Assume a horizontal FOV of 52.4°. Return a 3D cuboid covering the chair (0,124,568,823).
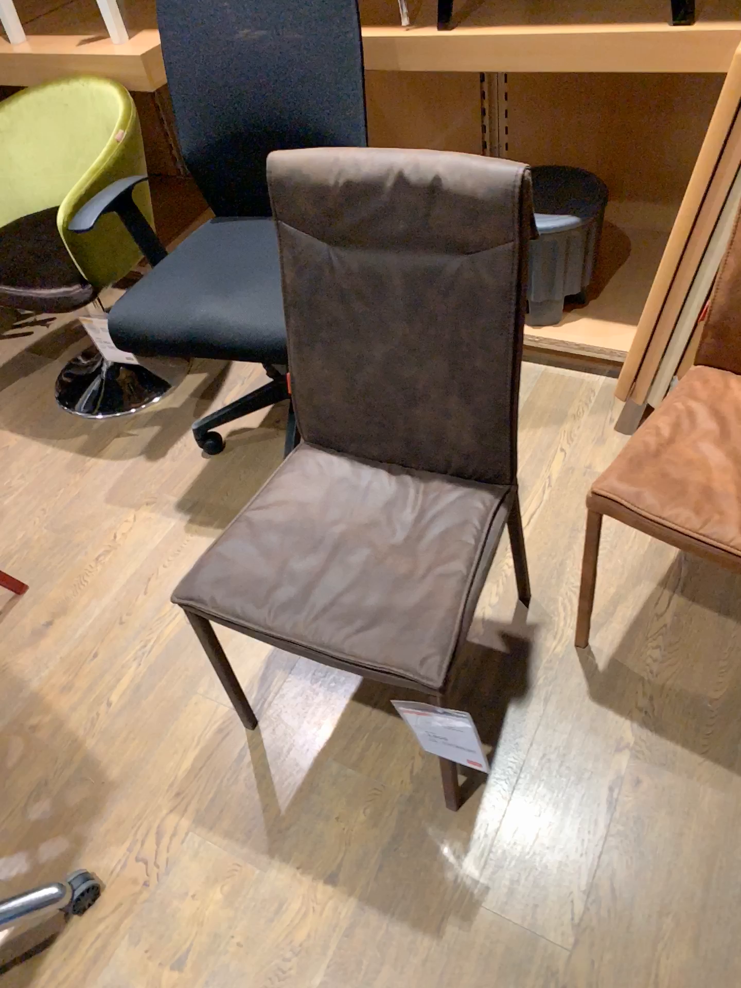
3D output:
[{"bbox_3d":[-0.031,0.003,1.186,0.501,0.907,0.521,15,51,23],"label":"chair"}]
